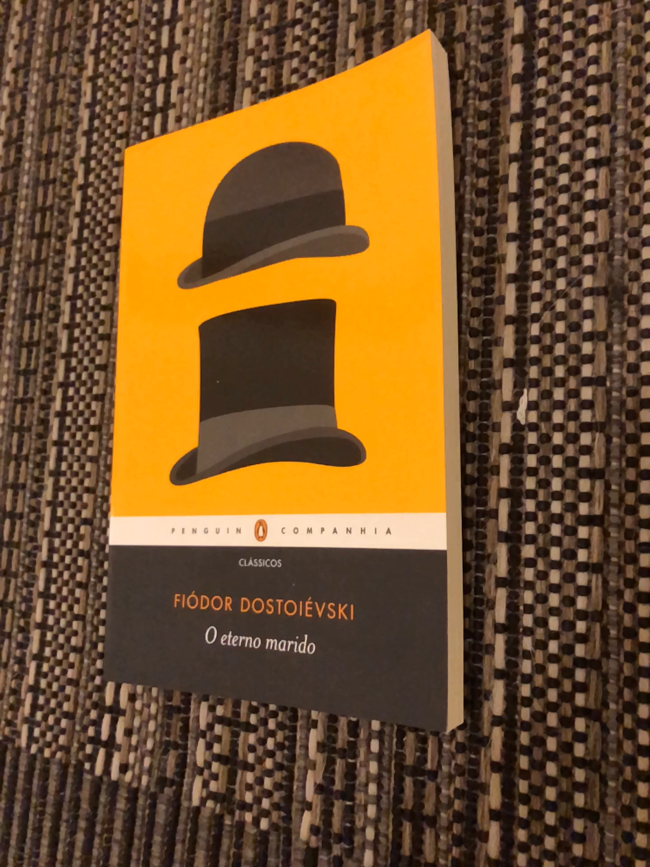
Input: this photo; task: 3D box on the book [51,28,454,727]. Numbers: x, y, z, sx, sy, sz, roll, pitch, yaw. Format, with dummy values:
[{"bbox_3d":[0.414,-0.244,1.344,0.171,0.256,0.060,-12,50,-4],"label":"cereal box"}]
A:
[{"bbox_3d":[-0.028,-0.015,0.224,0.130,0.020,0.180,-5,81,30],"label":"book"}]
